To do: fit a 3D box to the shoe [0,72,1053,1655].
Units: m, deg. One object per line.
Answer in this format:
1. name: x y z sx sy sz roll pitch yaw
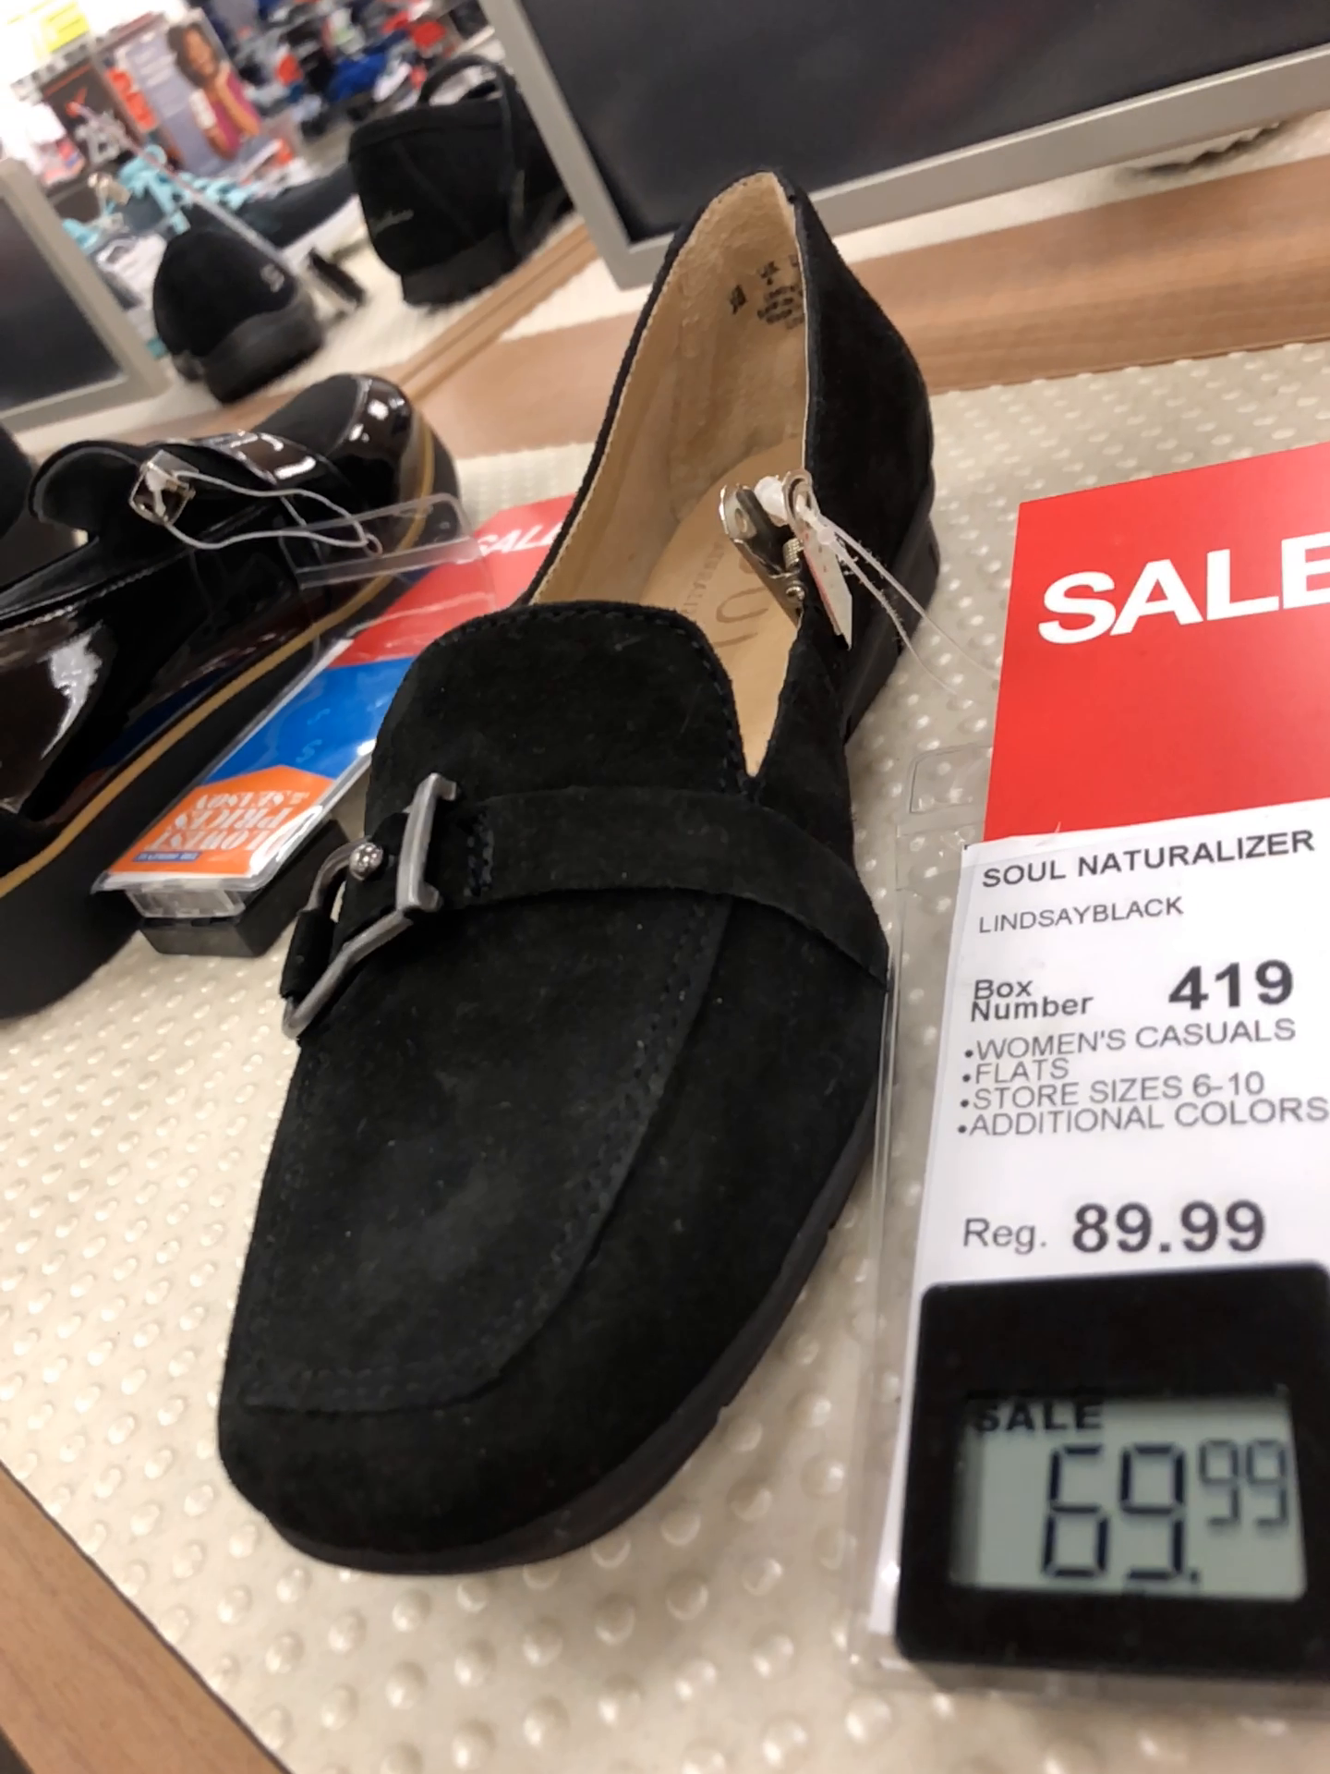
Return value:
1. shoe: -0.007 -0.030 0.223 0.080 0.079 0.239 -9 38 30
